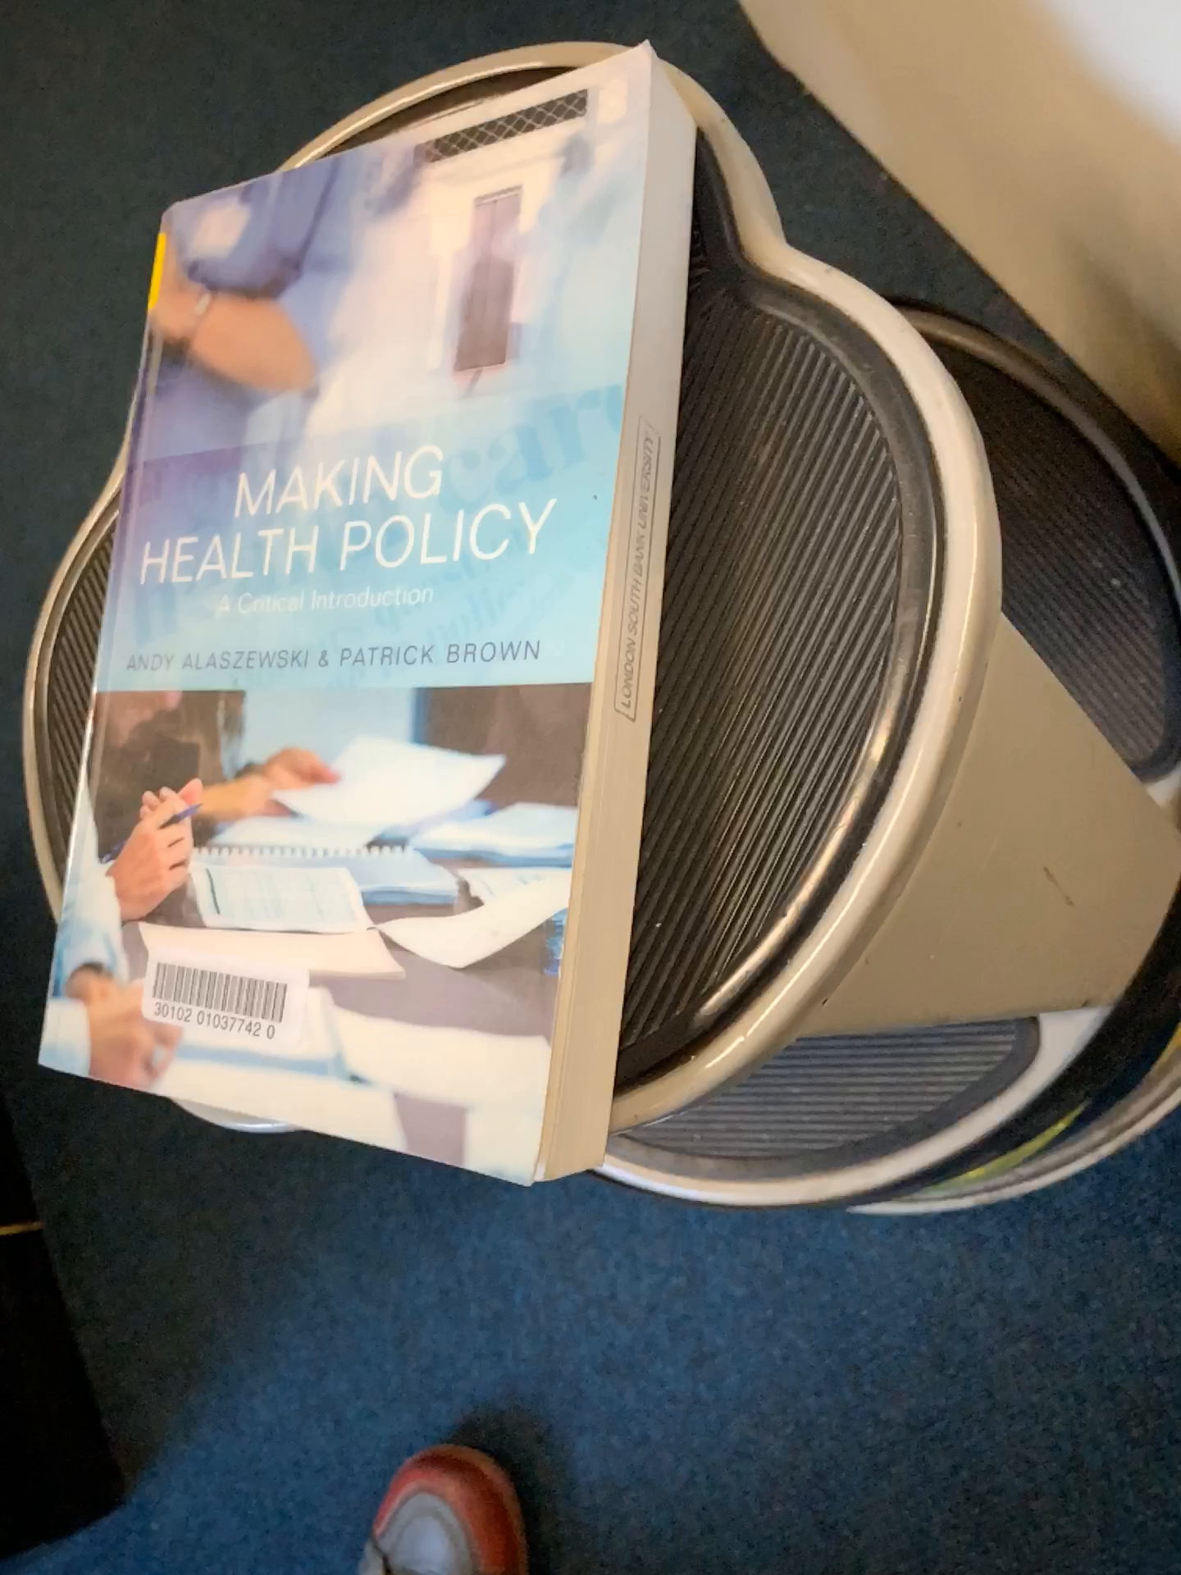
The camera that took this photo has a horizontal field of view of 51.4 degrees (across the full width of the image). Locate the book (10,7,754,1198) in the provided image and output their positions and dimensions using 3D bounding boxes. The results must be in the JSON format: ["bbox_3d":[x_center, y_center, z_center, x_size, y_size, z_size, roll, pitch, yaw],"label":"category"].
[{"bbox_3d":[-0.053,-0.044,0.292,0.161,0.030,0.240,2,80,32],"label":"book"}]
